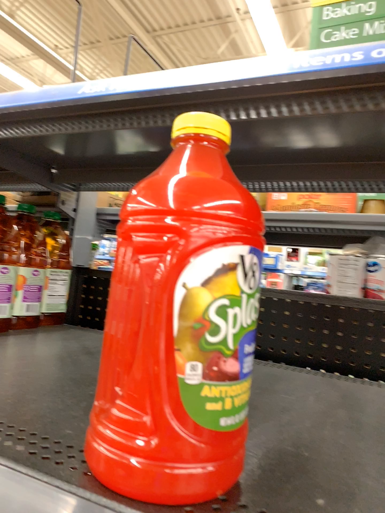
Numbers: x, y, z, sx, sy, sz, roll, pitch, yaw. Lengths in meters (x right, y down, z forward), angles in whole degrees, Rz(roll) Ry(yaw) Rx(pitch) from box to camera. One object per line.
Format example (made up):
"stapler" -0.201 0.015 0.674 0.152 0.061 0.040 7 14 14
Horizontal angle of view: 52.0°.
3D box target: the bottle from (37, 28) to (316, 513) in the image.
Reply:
"bottle" -0.004 0.013 0.296 0.122 0.265 0.140 3 -4 39
